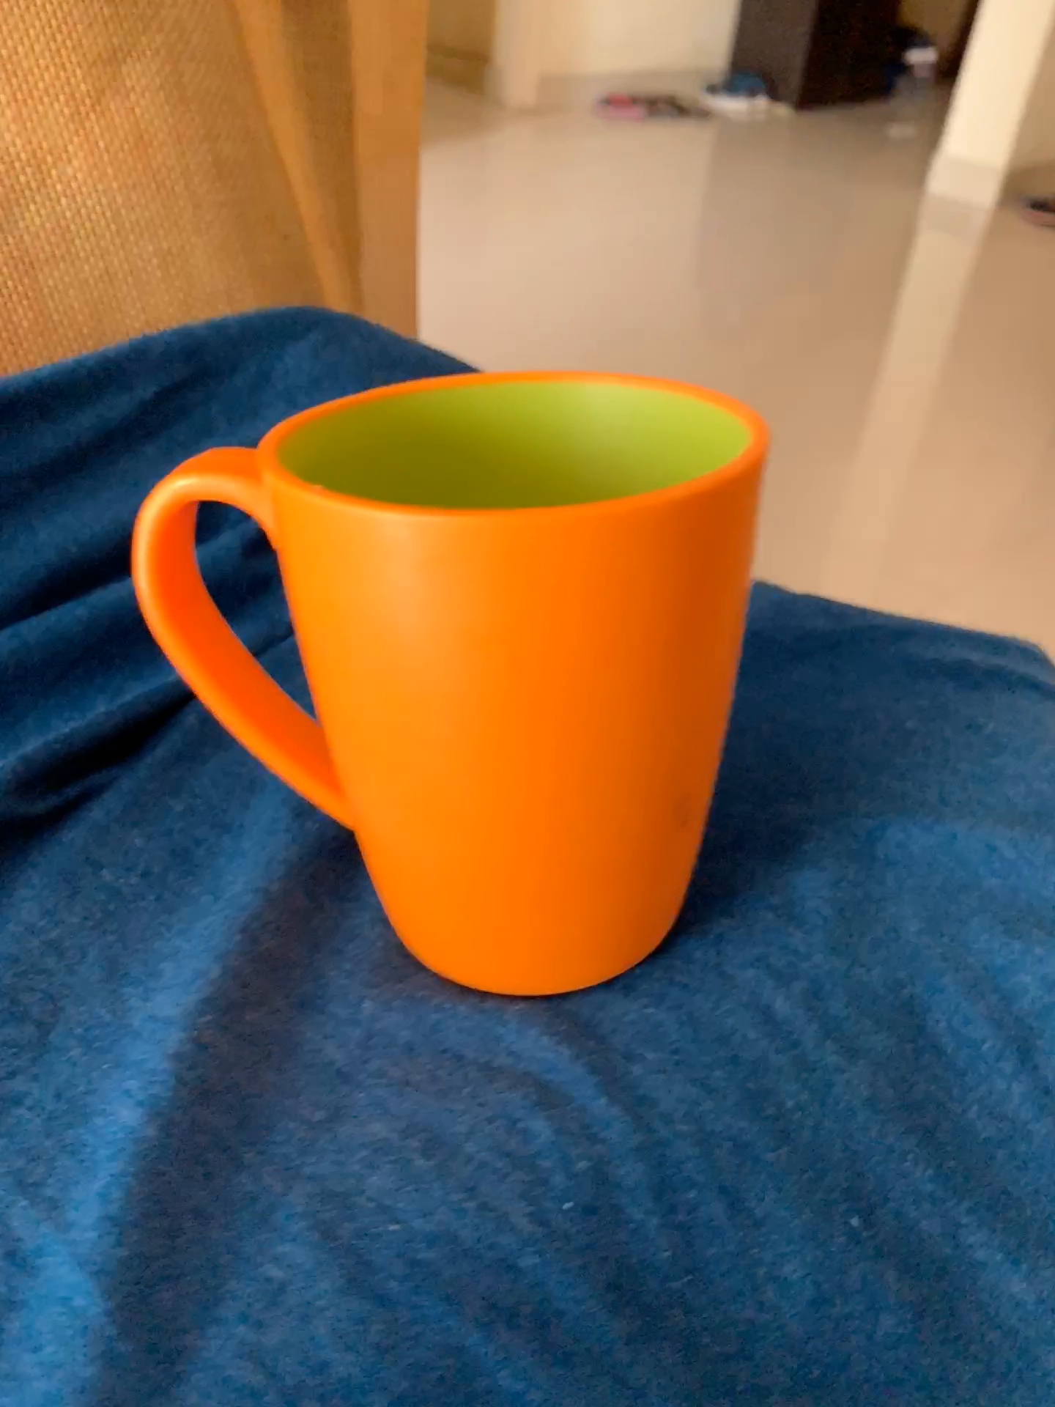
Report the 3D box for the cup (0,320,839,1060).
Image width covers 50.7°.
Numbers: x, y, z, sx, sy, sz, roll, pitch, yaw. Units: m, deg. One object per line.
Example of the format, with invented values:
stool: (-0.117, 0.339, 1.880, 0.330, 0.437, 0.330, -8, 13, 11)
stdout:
cup: (-0.017, -0.011, 0.205, 0.120, 0.089, 0.101, -6, 25, 1)
